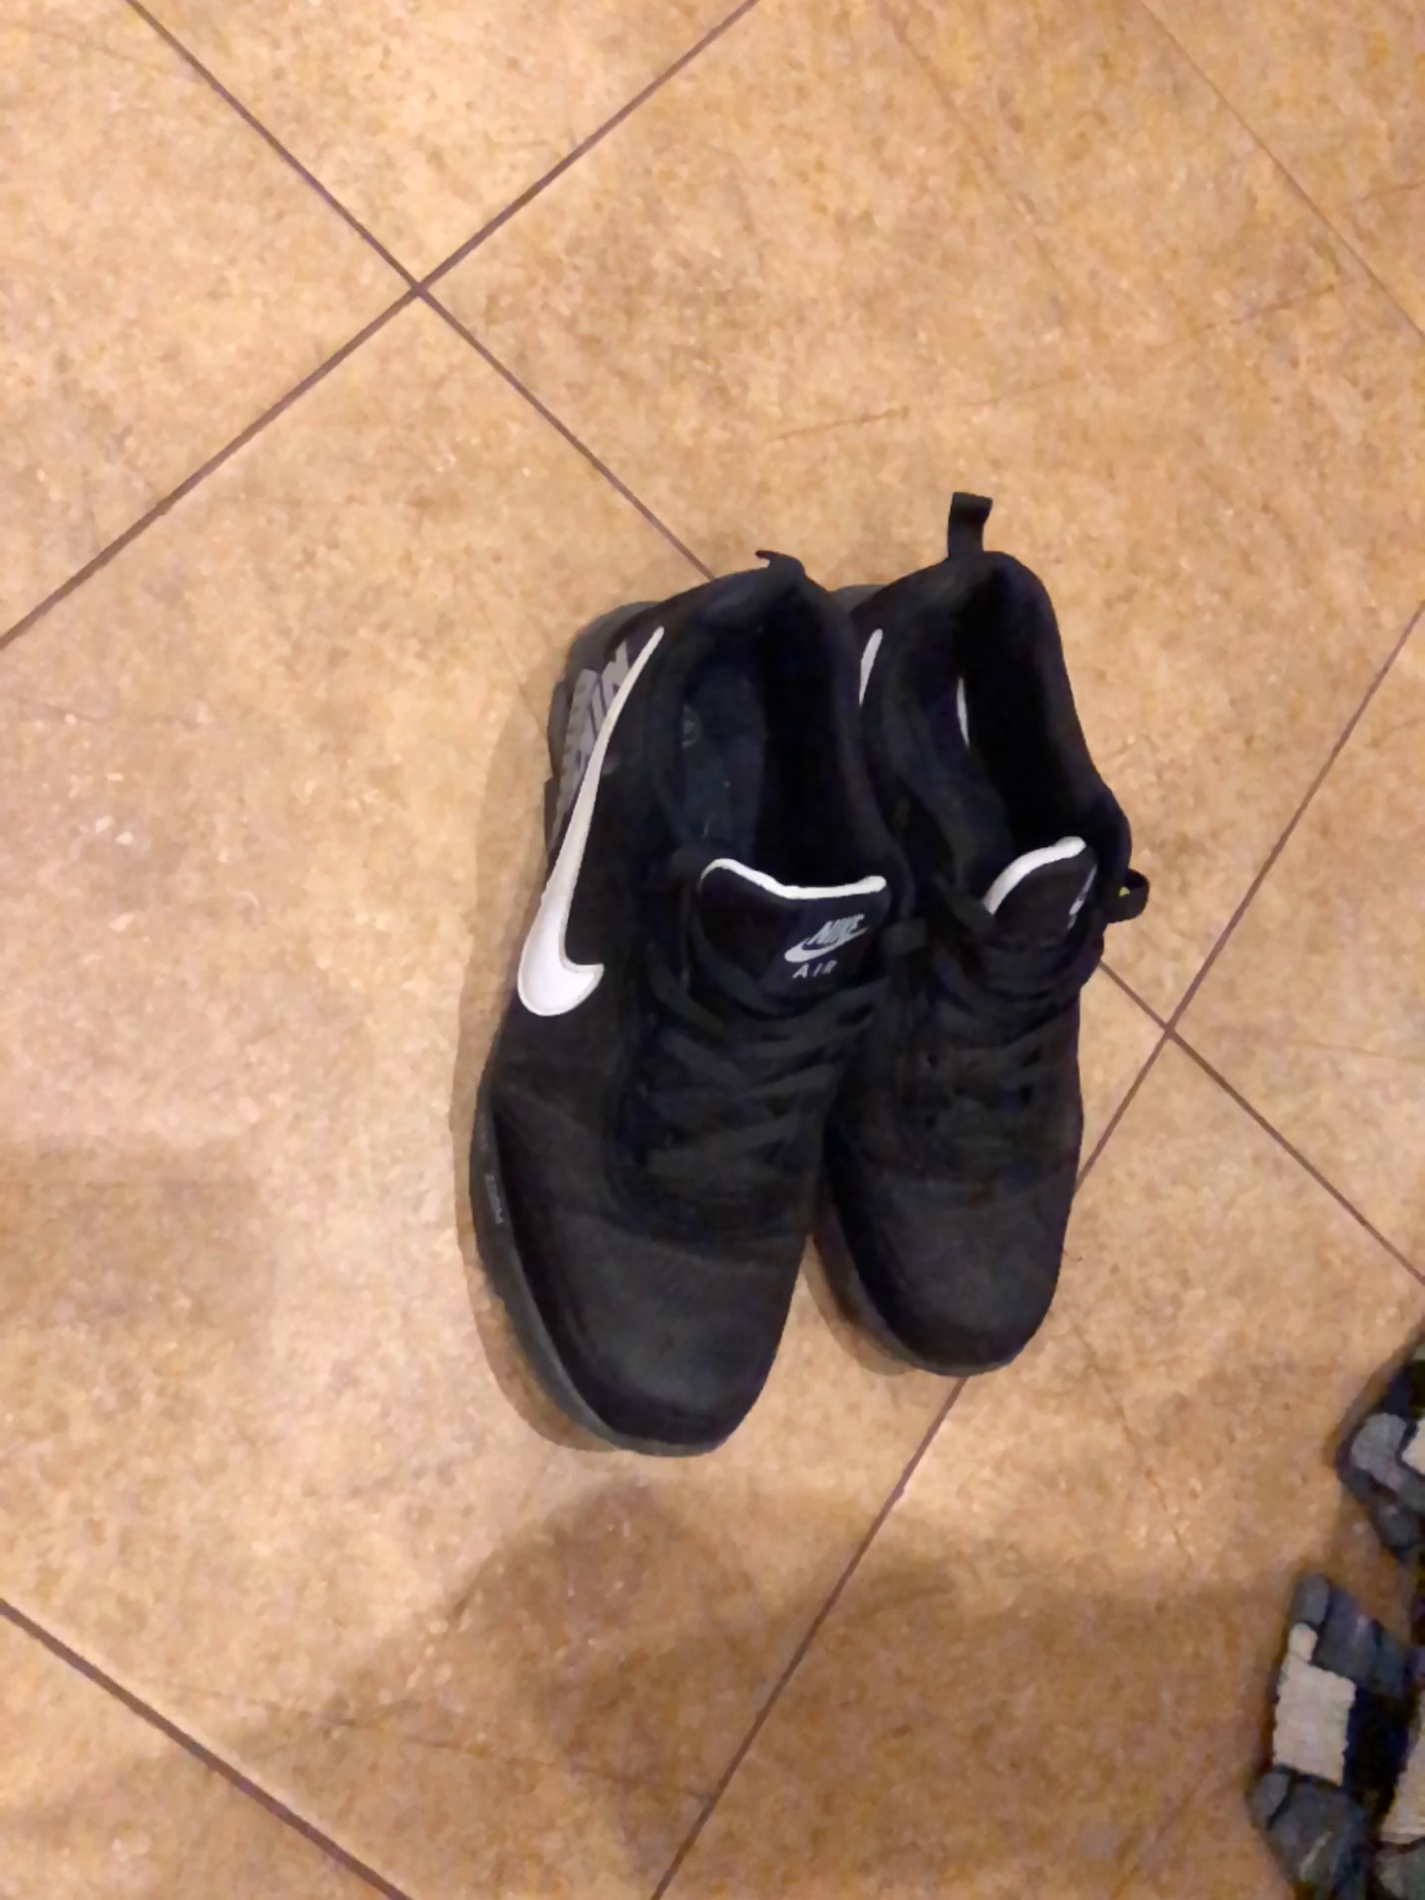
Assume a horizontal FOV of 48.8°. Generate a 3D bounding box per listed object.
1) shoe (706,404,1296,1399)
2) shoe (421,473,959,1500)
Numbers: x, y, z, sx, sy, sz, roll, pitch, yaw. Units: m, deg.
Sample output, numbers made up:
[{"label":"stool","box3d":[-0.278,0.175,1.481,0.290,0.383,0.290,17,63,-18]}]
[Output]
[{"label":"shoe","box3d":[0.089,-0.011,0.540,0.120,0.120,0.300,0,78,-25]},{"label":"shoe","box3d":[-0.007,0.018,0.478,0.110,0.120,0.270,9,75,-23]}]
